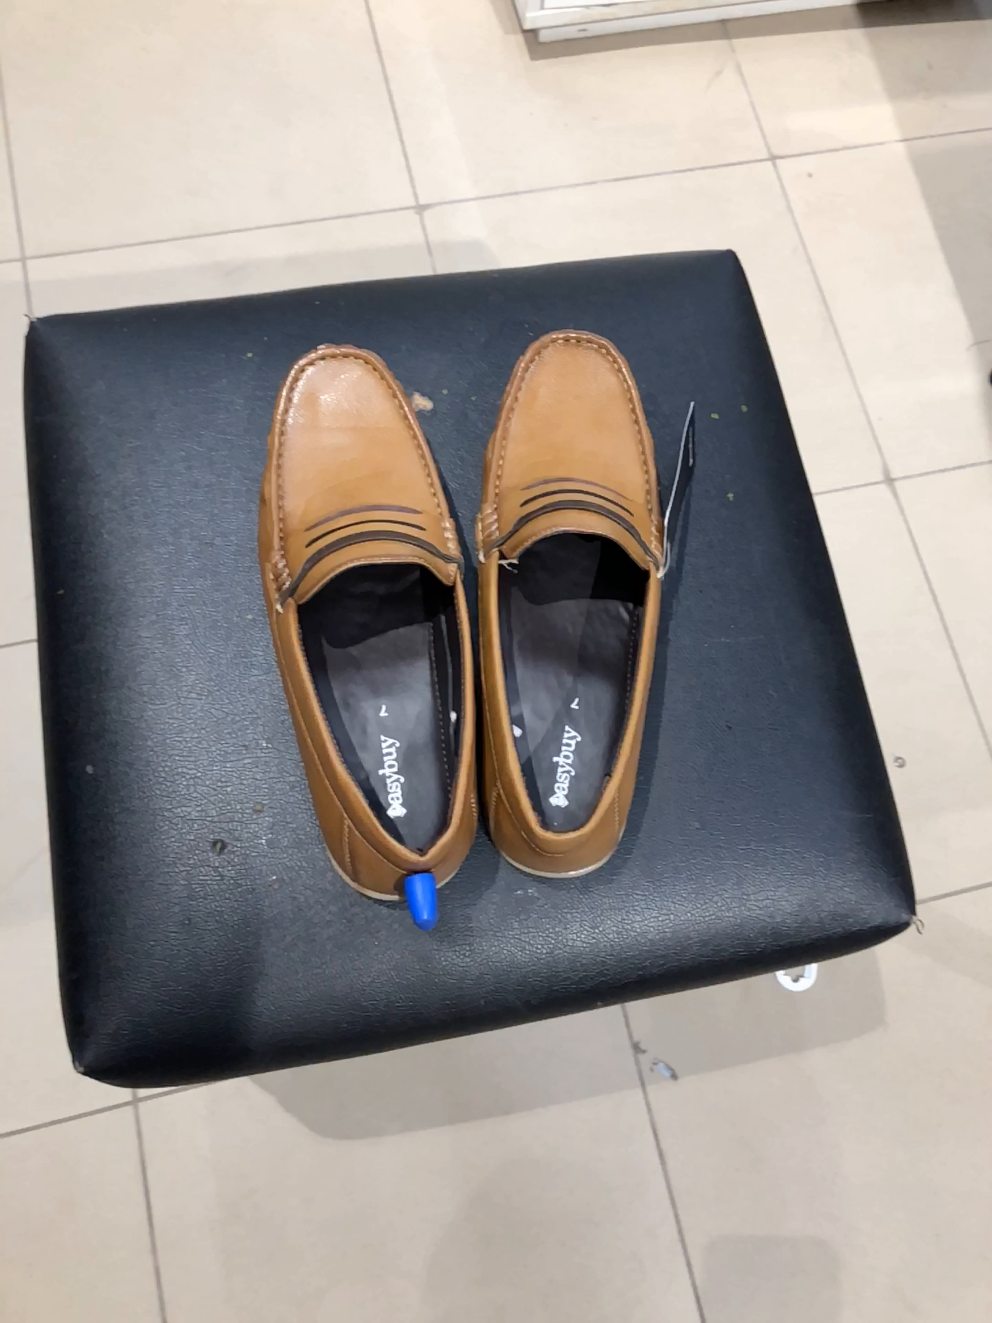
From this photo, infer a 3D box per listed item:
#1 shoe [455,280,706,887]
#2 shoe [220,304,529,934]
[{"bbox_3d":[0.035,-0.036,0.525,0.098,0.088,0.273,2,72,-4],"label":"shoe"},{"bbox_3d":[-0.061,-0.021,0.515,0.098,0.088,0.273,-8,73,-7],"label":"shoe"}]
